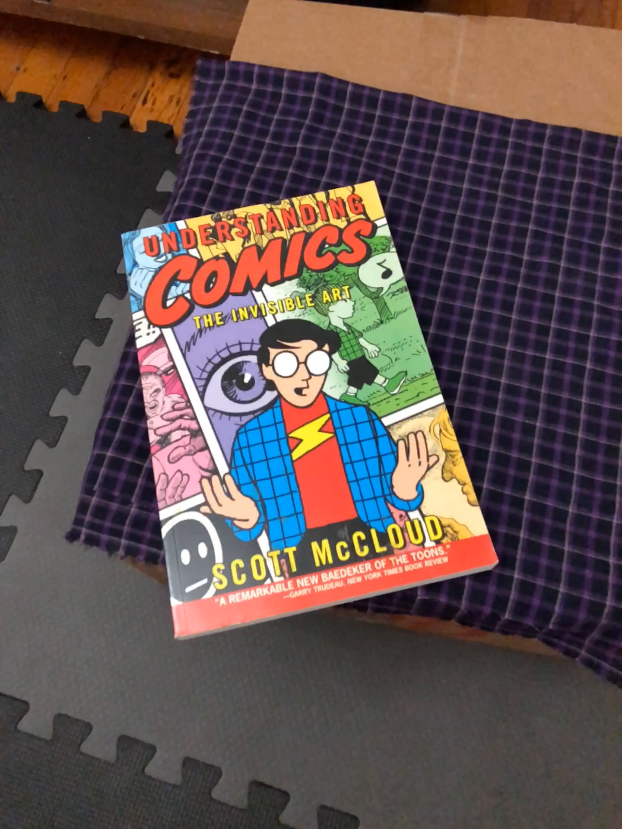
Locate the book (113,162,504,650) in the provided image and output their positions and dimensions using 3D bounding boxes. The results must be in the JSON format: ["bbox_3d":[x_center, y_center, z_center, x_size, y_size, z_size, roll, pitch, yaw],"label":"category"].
[{"bbox_3d":[-0.015,-0.022,0.397,0.170,0.020,0.271,-12,67,-3],"label":"book"}]
